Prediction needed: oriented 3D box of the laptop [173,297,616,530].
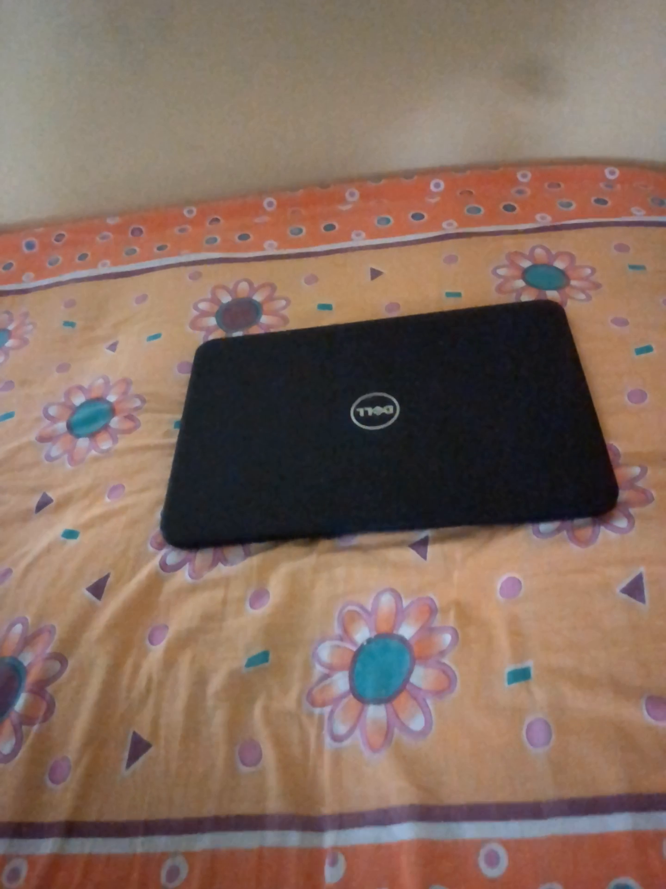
[{"bbox_3d":[0.041,-0.036,0.666,0.358,0.001,0.236,-6,50,7],"label":"laptop"}]
